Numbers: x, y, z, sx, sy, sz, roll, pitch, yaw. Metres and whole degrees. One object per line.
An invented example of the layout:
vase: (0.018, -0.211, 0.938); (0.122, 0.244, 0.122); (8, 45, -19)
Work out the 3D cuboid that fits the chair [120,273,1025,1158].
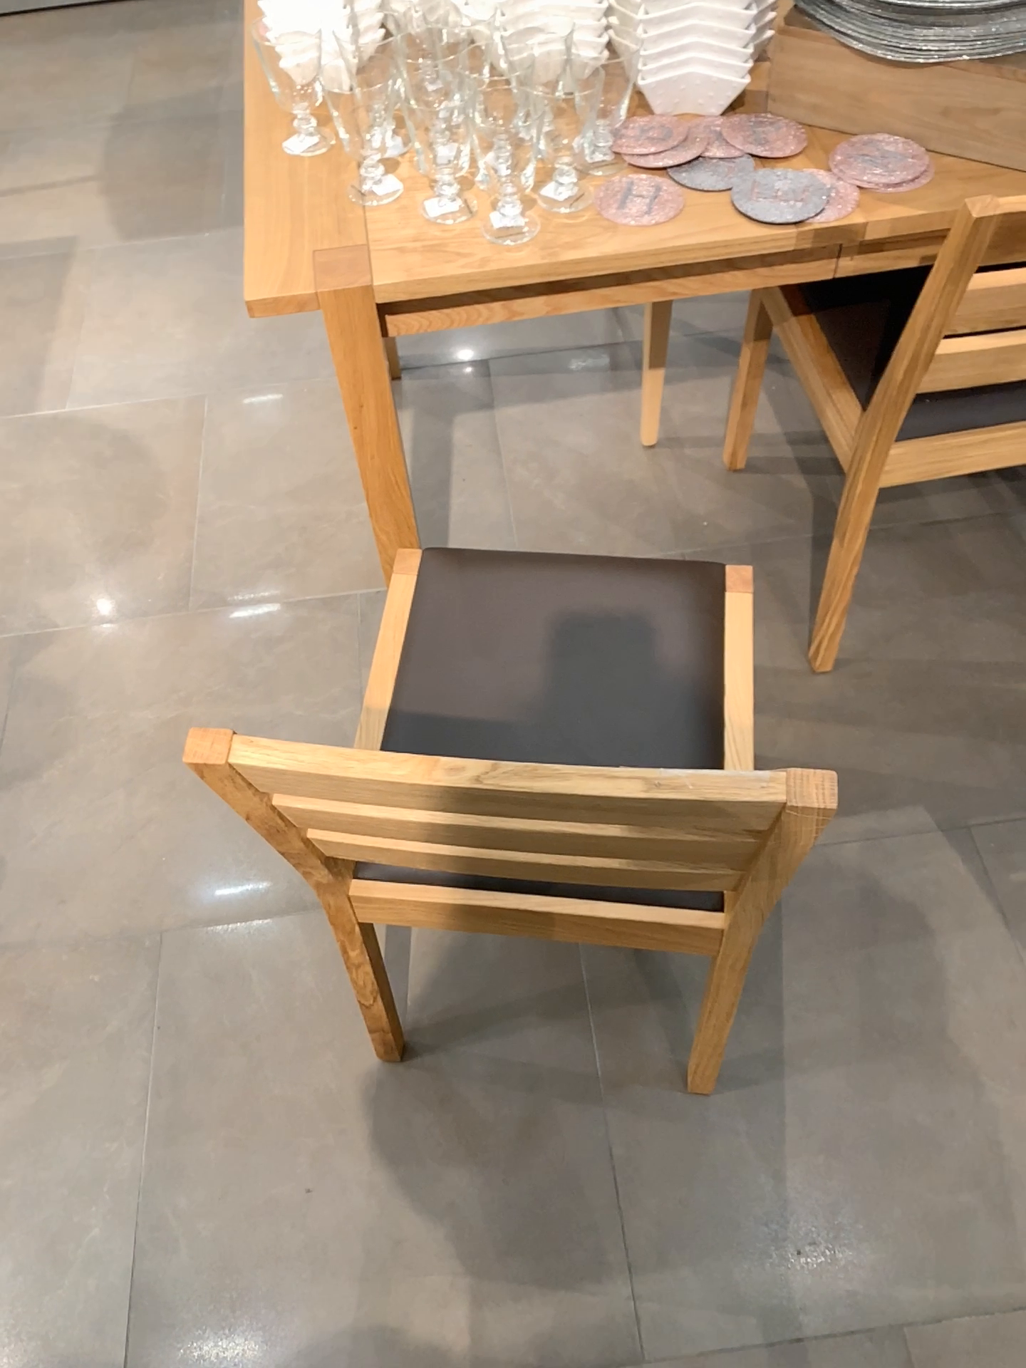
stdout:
chair: (0.084, 0.092, 1.135); (0.562, 0.817, 0.567); (4, 55, 7)
